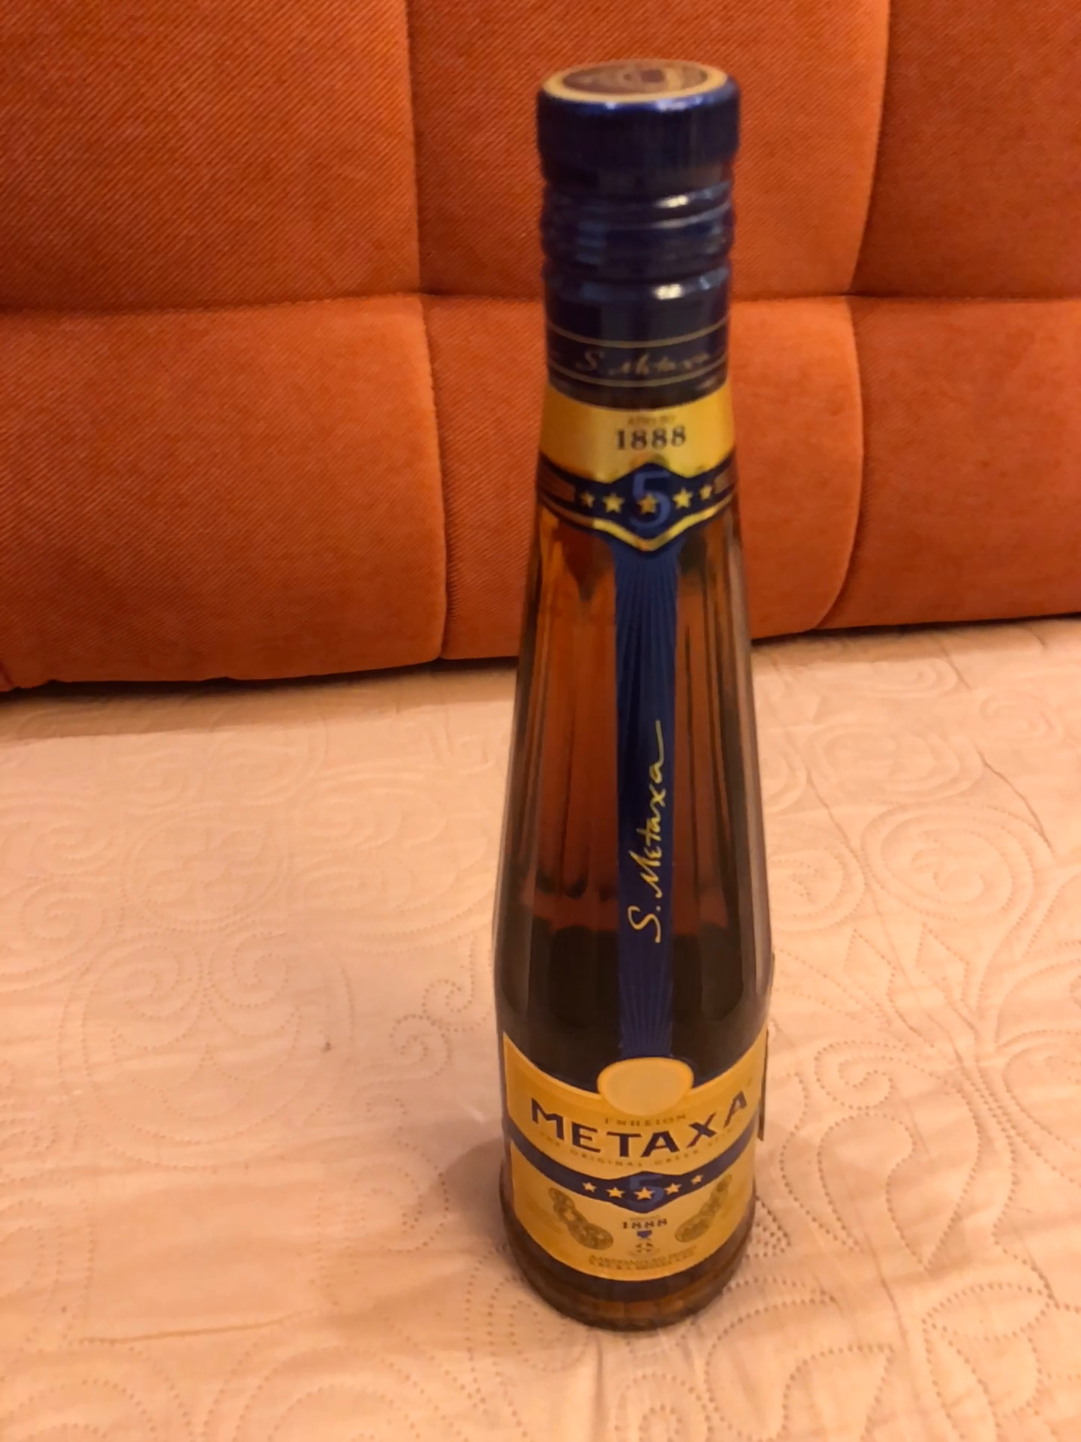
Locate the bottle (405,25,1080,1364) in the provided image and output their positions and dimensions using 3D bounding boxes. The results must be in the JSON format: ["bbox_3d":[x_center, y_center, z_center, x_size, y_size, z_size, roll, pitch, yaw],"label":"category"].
[{"bbox_3d":[0.032,0.024,0.275,0.100,0.308,0.091,4,37,3],"label":"bottle"}]
